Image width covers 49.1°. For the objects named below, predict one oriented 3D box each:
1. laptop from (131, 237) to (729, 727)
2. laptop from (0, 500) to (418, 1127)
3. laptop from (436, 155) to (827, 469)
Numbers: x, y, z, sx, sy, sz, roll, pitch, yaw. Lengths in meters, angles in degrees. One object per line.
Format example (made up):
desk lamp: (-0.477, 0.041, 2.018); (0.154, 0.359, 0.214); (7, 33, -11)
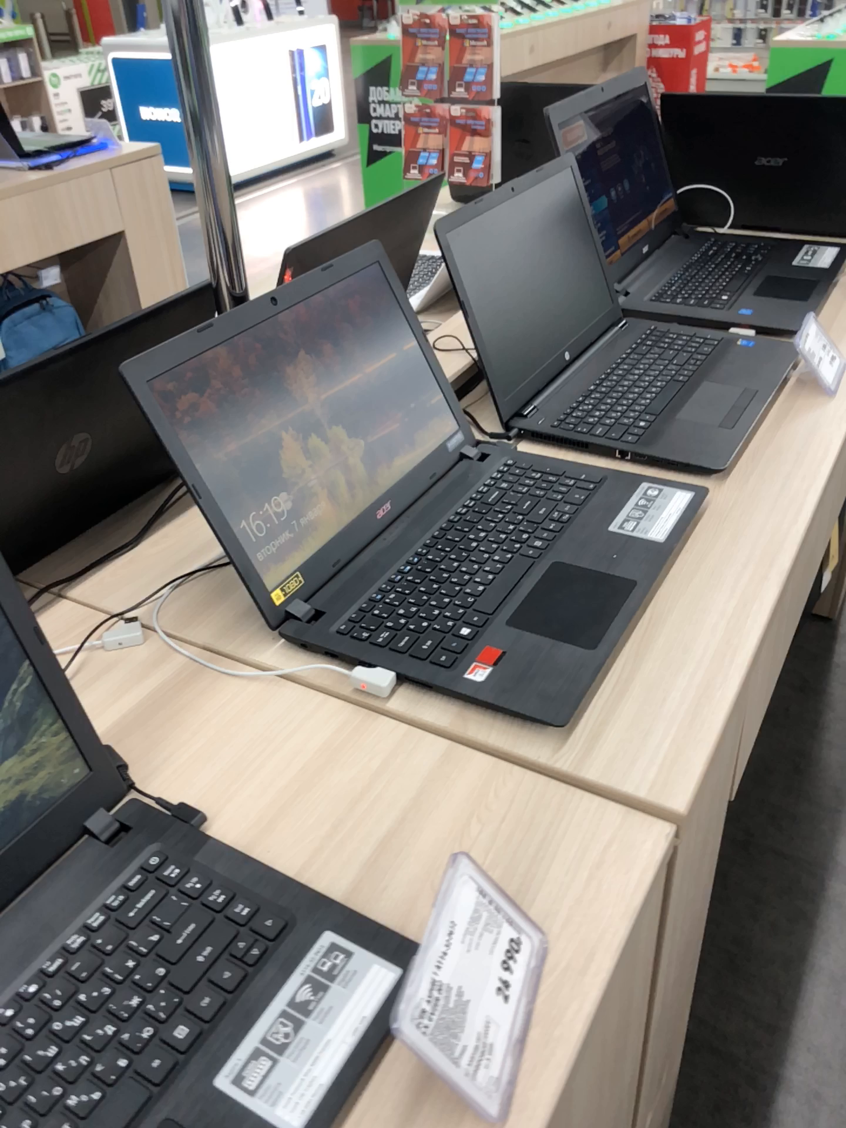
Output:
laptop: (0.028, -0.114, 0.818); (0.367, 0.208, 0.375); (16, 39, 26)
laptop: (-0.214, 0.169, 0.419); (0.301, 0.214, 0.307); (17, 39, 26)
laptop: (0.252, -0.327, 1.103); (0.338, 0.212, 0.379); (16, 39, 28)
